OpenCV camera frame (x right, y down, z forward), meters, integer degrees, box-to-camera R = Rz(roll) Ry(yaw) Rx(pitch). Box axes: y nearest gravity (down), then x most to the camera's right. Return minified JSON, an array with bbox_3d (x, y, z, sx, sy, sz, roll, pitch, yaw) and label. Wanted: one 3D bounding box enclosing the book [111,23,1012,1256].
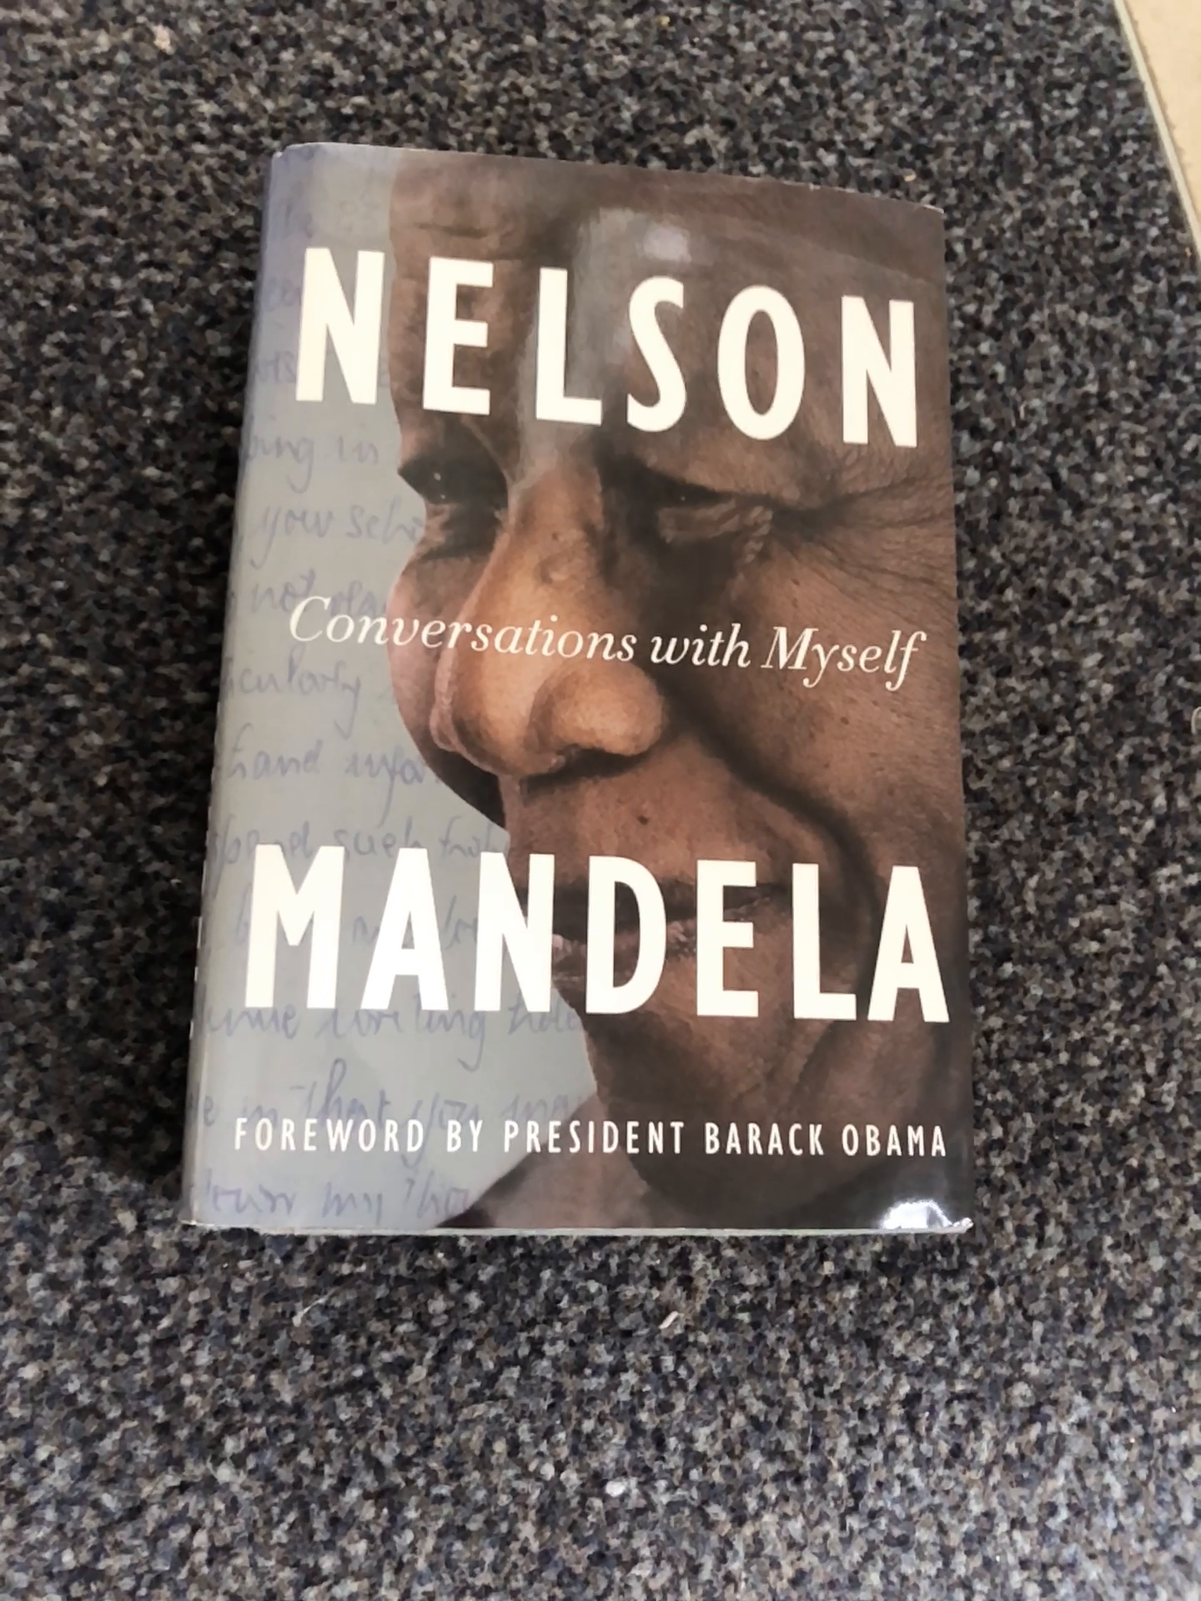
[{"bbox_3d":[-0.003,-0.034,0.298,0.170,0.050,0.250,4,79,-8],"label":"book"}]
